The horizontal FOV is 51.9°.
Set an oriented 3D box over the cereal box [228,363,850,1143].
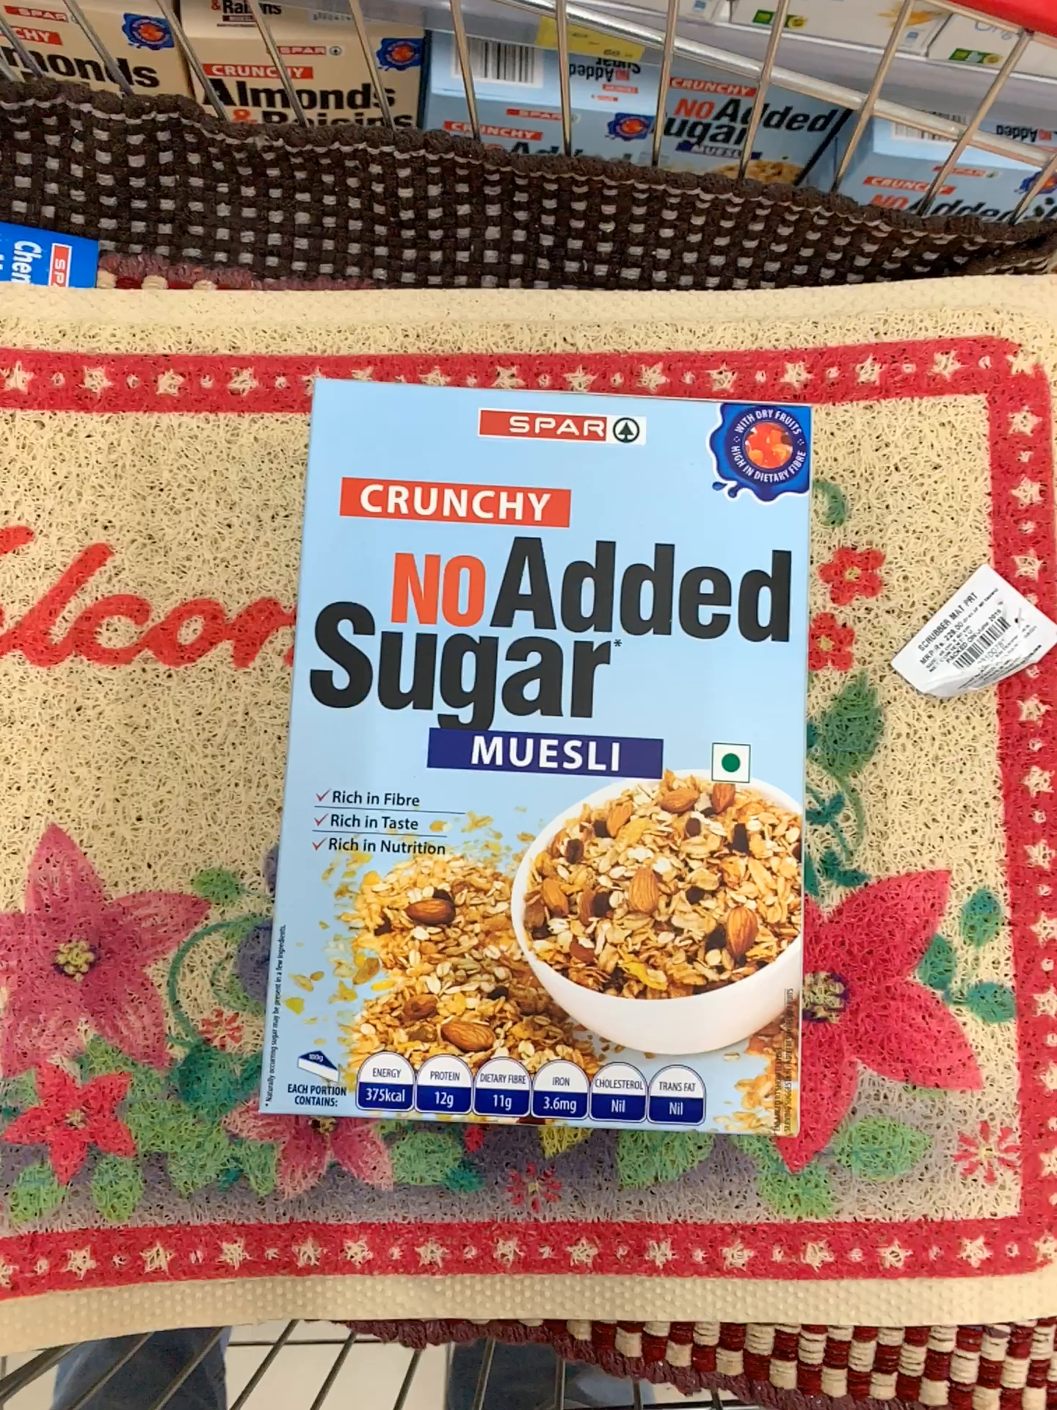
[{"bbox_3d":[0.007,0.013,0.354,0.180,0.050,0.230,2,83,0],"label":"cereal box"}]
